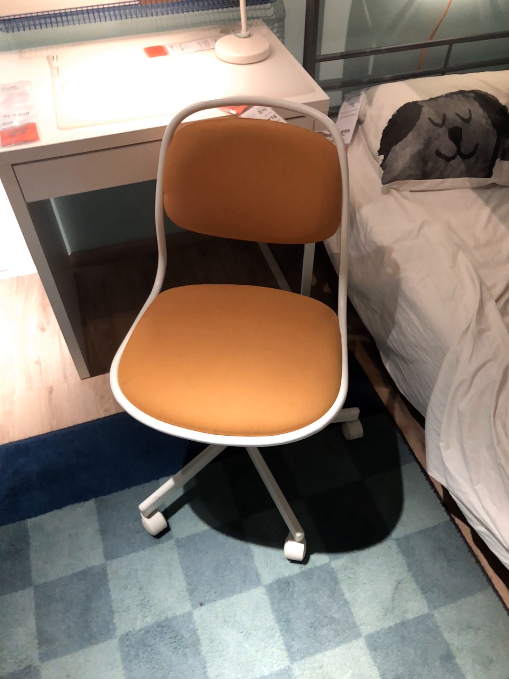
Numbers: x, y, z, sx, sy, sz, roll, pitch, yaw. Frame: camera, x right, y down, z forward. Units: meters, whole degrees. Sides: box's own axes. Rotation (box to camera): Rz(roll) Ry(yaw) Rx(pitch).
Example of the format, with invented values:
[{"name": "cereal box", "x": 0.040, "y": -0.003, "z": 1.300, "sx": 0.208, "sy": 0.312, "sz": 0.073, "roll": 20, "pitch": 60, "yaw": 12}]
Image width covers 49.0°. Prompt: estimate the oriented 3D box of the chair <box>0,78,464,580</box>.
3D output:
[{"name": "chair", "x": -0.026, "y": 0.016, "z": 1.129, "sx": 0.610, "sy": 0.795, "sz": 0.563, "roll": 6, "pitch": 49, "yaw": 6}]
